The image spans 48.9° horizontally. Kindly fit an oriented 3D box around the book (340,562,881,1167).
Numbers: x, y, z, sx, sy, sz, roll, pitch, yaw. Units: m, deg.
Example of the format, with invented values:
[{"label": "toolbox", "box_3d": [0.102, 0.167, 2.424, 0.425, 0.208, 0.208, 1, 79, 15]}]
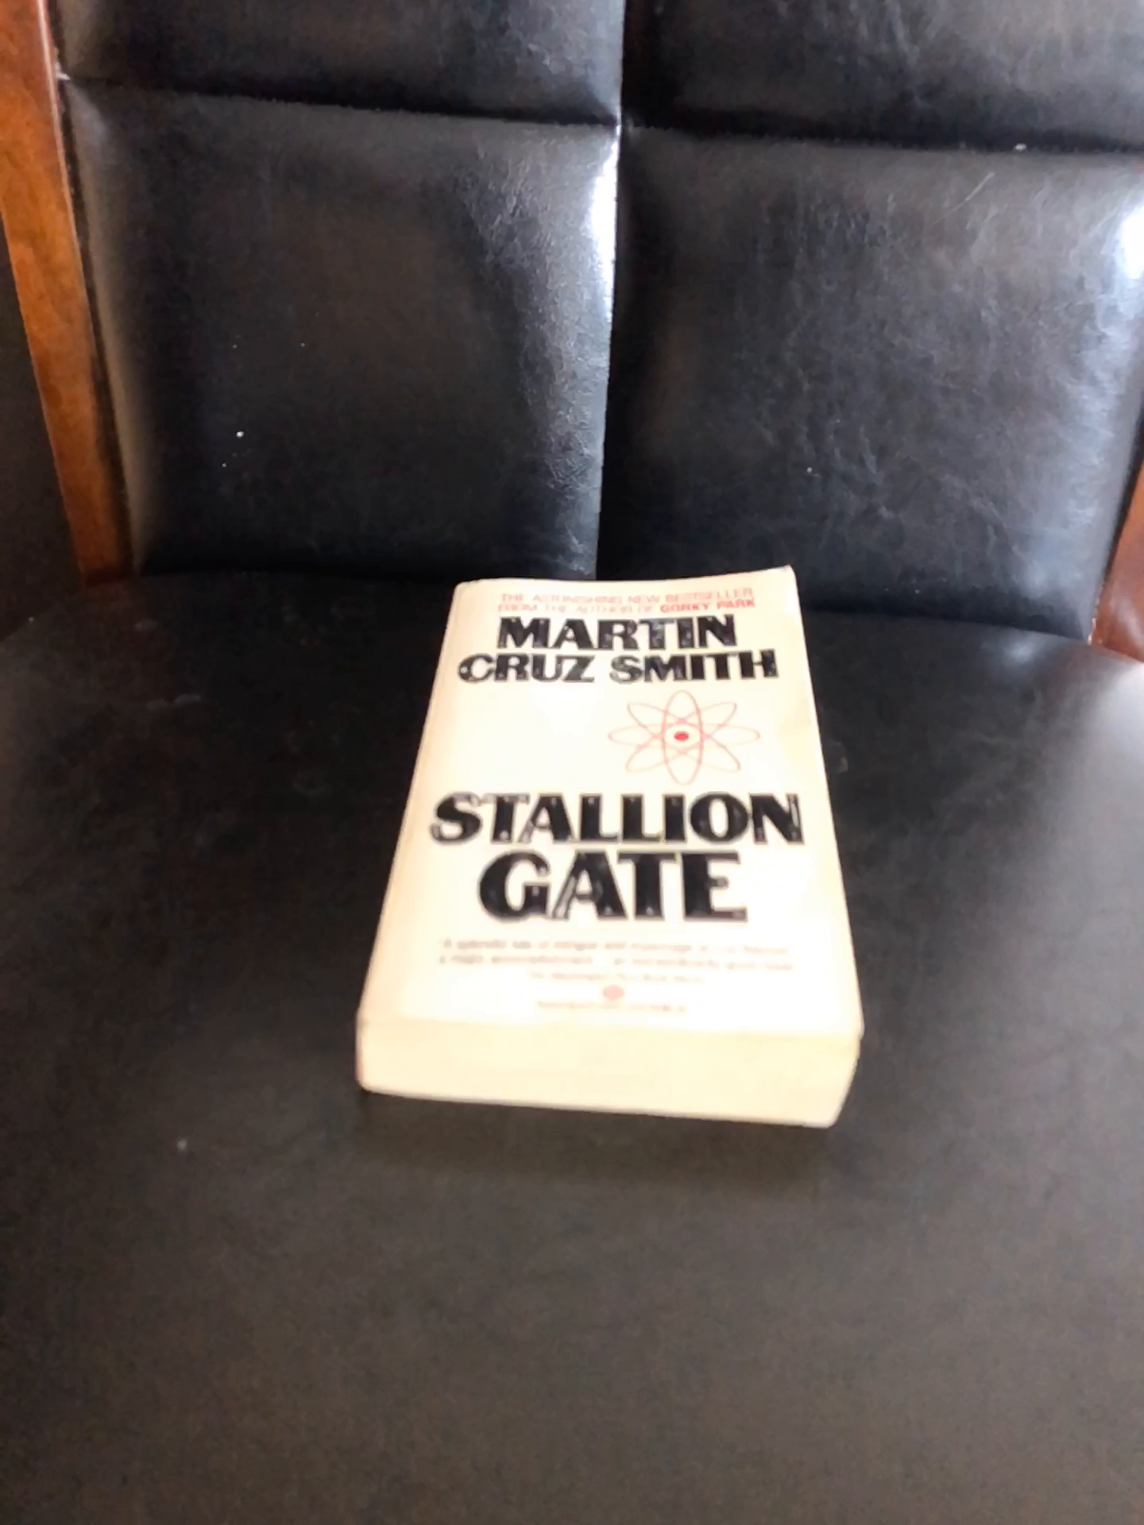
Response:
[{"label": "book", "box_3d": [0.013, 0.012, 0.337, 0.110, 0.030, 0.191, 3, 40, 2]}]
